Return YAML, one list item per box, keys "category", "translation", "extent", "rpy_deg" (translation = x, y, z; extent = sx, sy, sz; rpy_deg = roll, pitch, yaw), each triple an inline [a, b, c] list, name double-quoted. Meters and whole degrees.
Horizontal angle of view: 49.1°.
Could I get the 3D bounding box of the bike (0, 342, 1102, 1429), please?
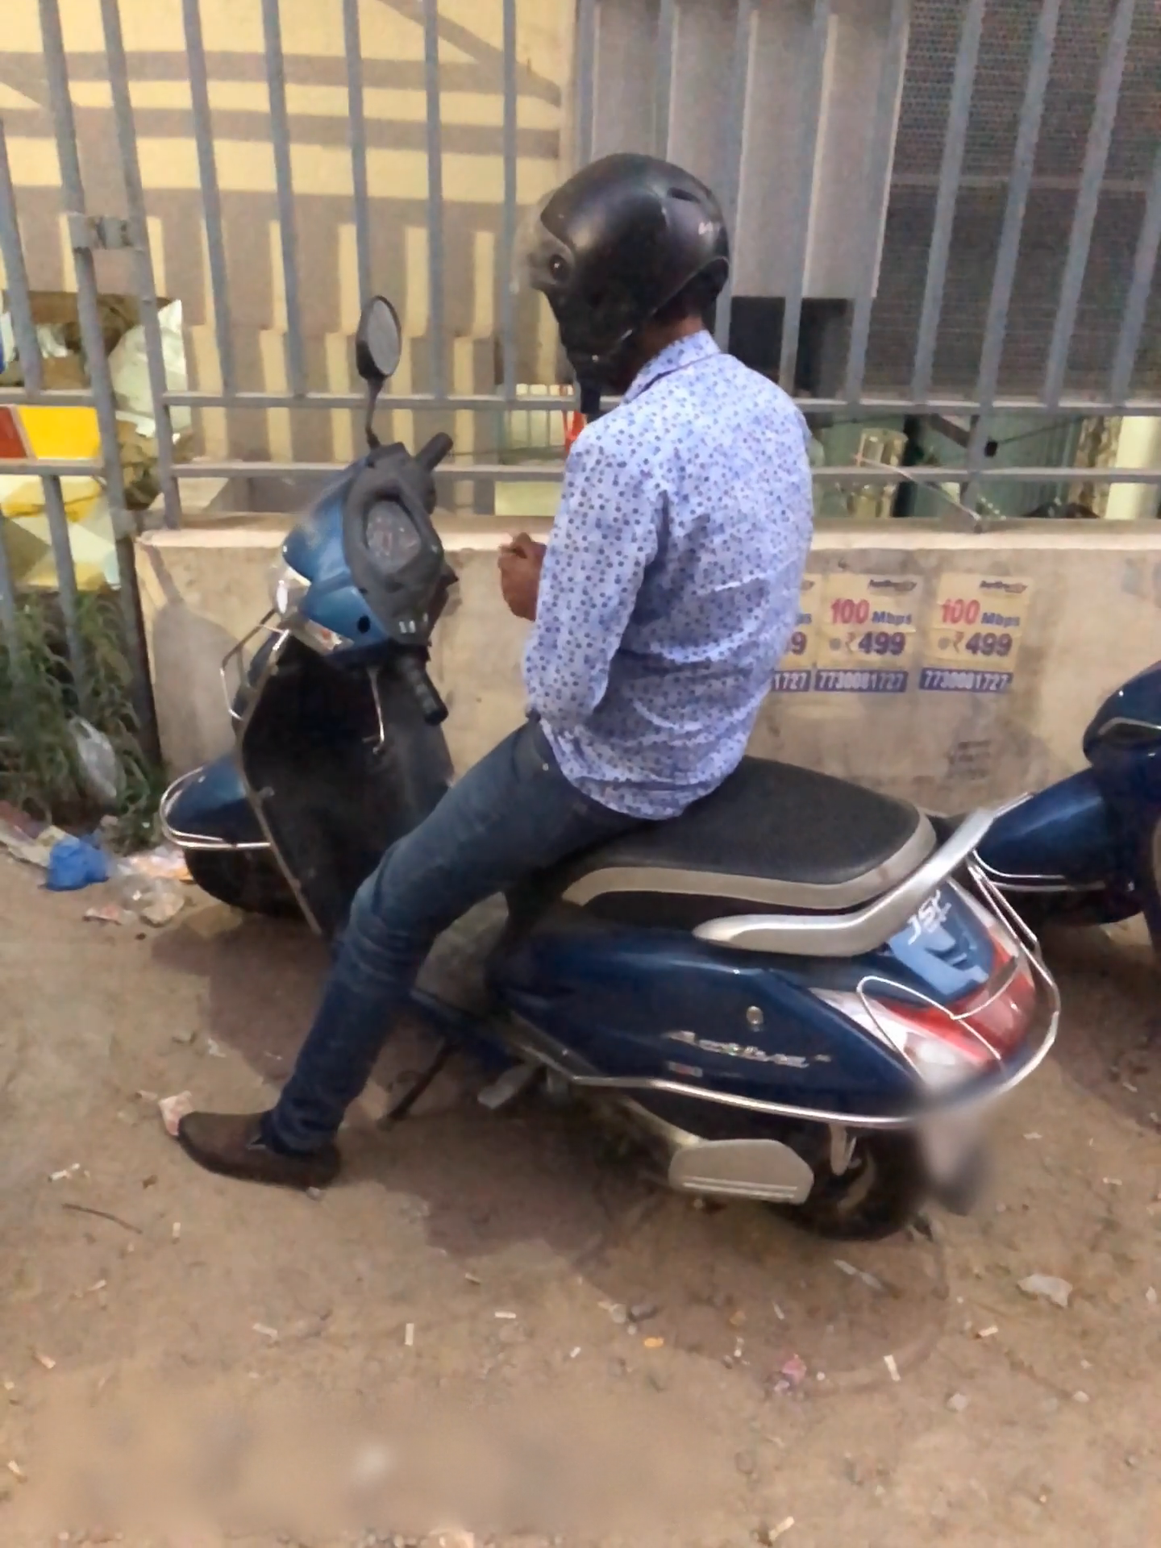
- category: "bike"
  translation: [-0.112, 0.080, 2.037]
  extent: [1.470, 1.130, 0.619]
  rpy_deg: [18, 31, 22]
